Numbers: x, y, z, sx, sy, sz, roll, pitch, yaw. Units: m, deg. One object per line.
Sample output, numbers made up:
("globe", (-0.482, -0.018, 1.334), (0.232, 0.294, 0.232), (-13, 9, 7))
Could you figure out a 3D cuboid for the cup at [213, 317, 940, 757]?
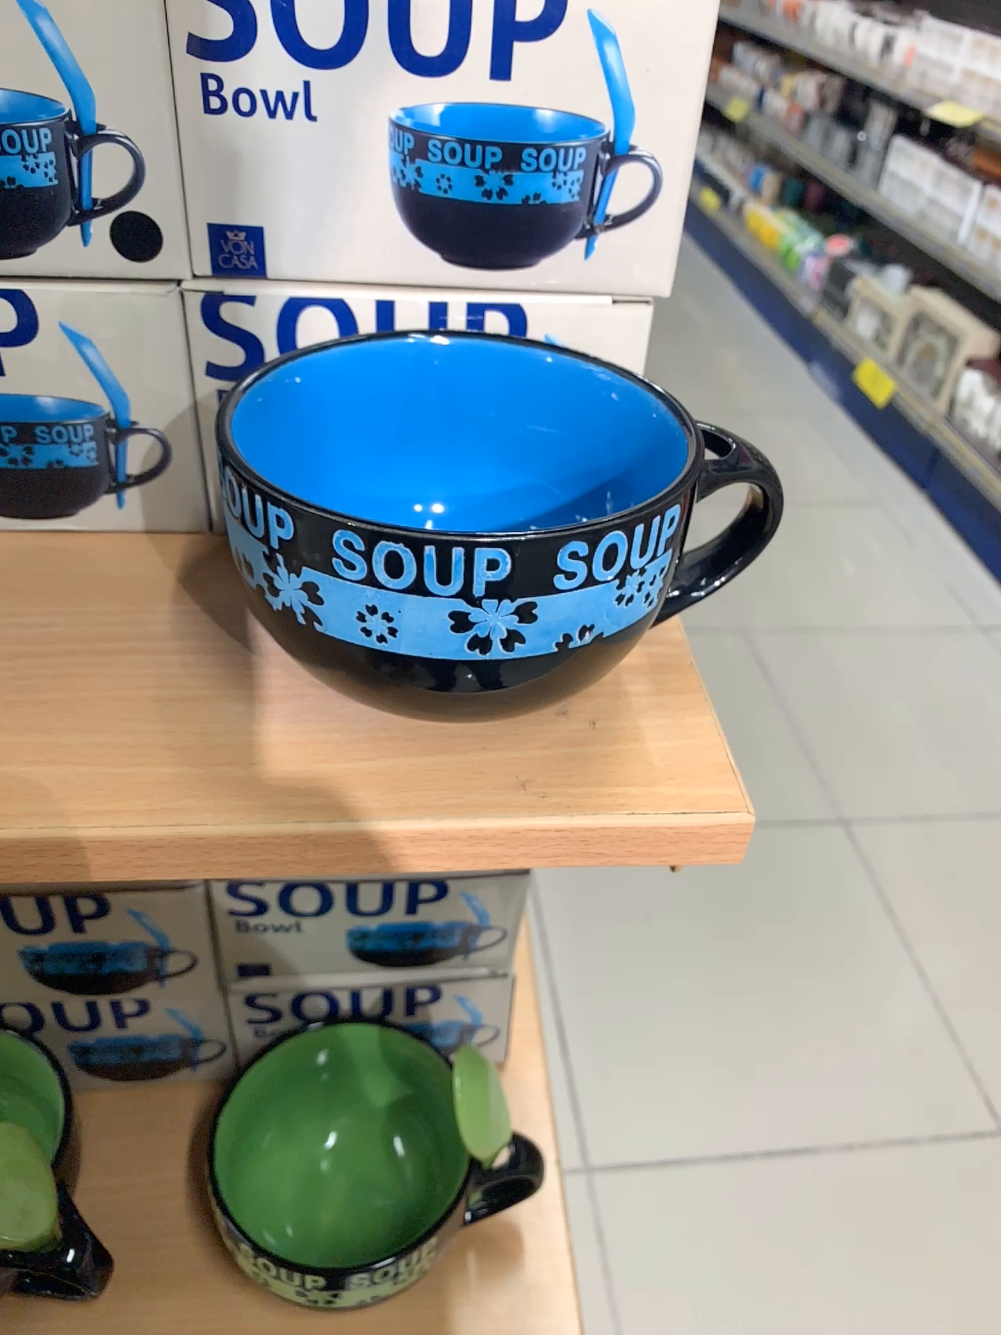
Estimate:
("cup", (0.008, -0.040, 0.264), (0.150, 0.060, 0.100), (-4, 38, -15))
